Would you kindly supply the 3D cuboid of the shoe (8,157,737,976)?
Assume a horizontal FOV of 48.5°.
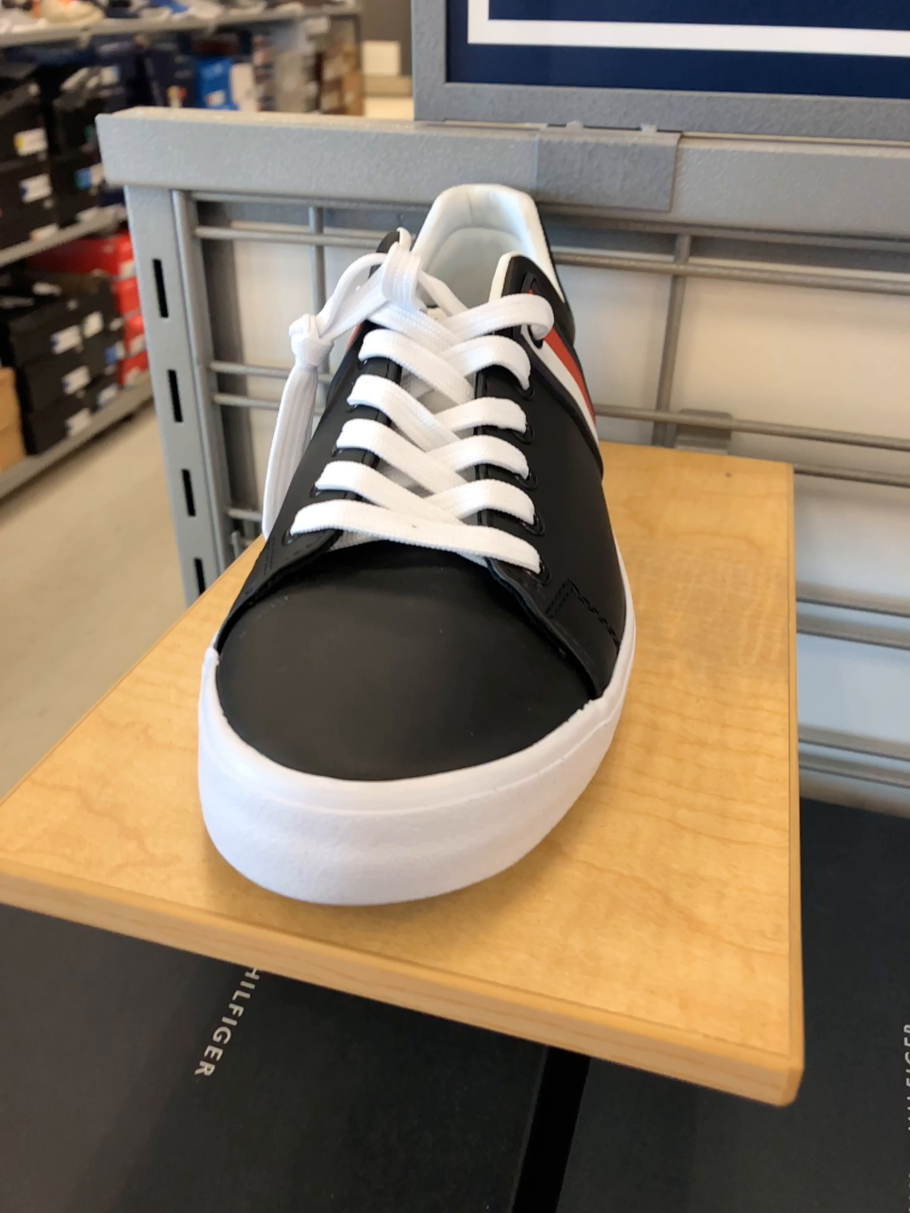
[{"bbox_3d":[0.006,-0.054,0.282,0.100,0.089,0.292,6,32,6],"label":"shoe"}]
